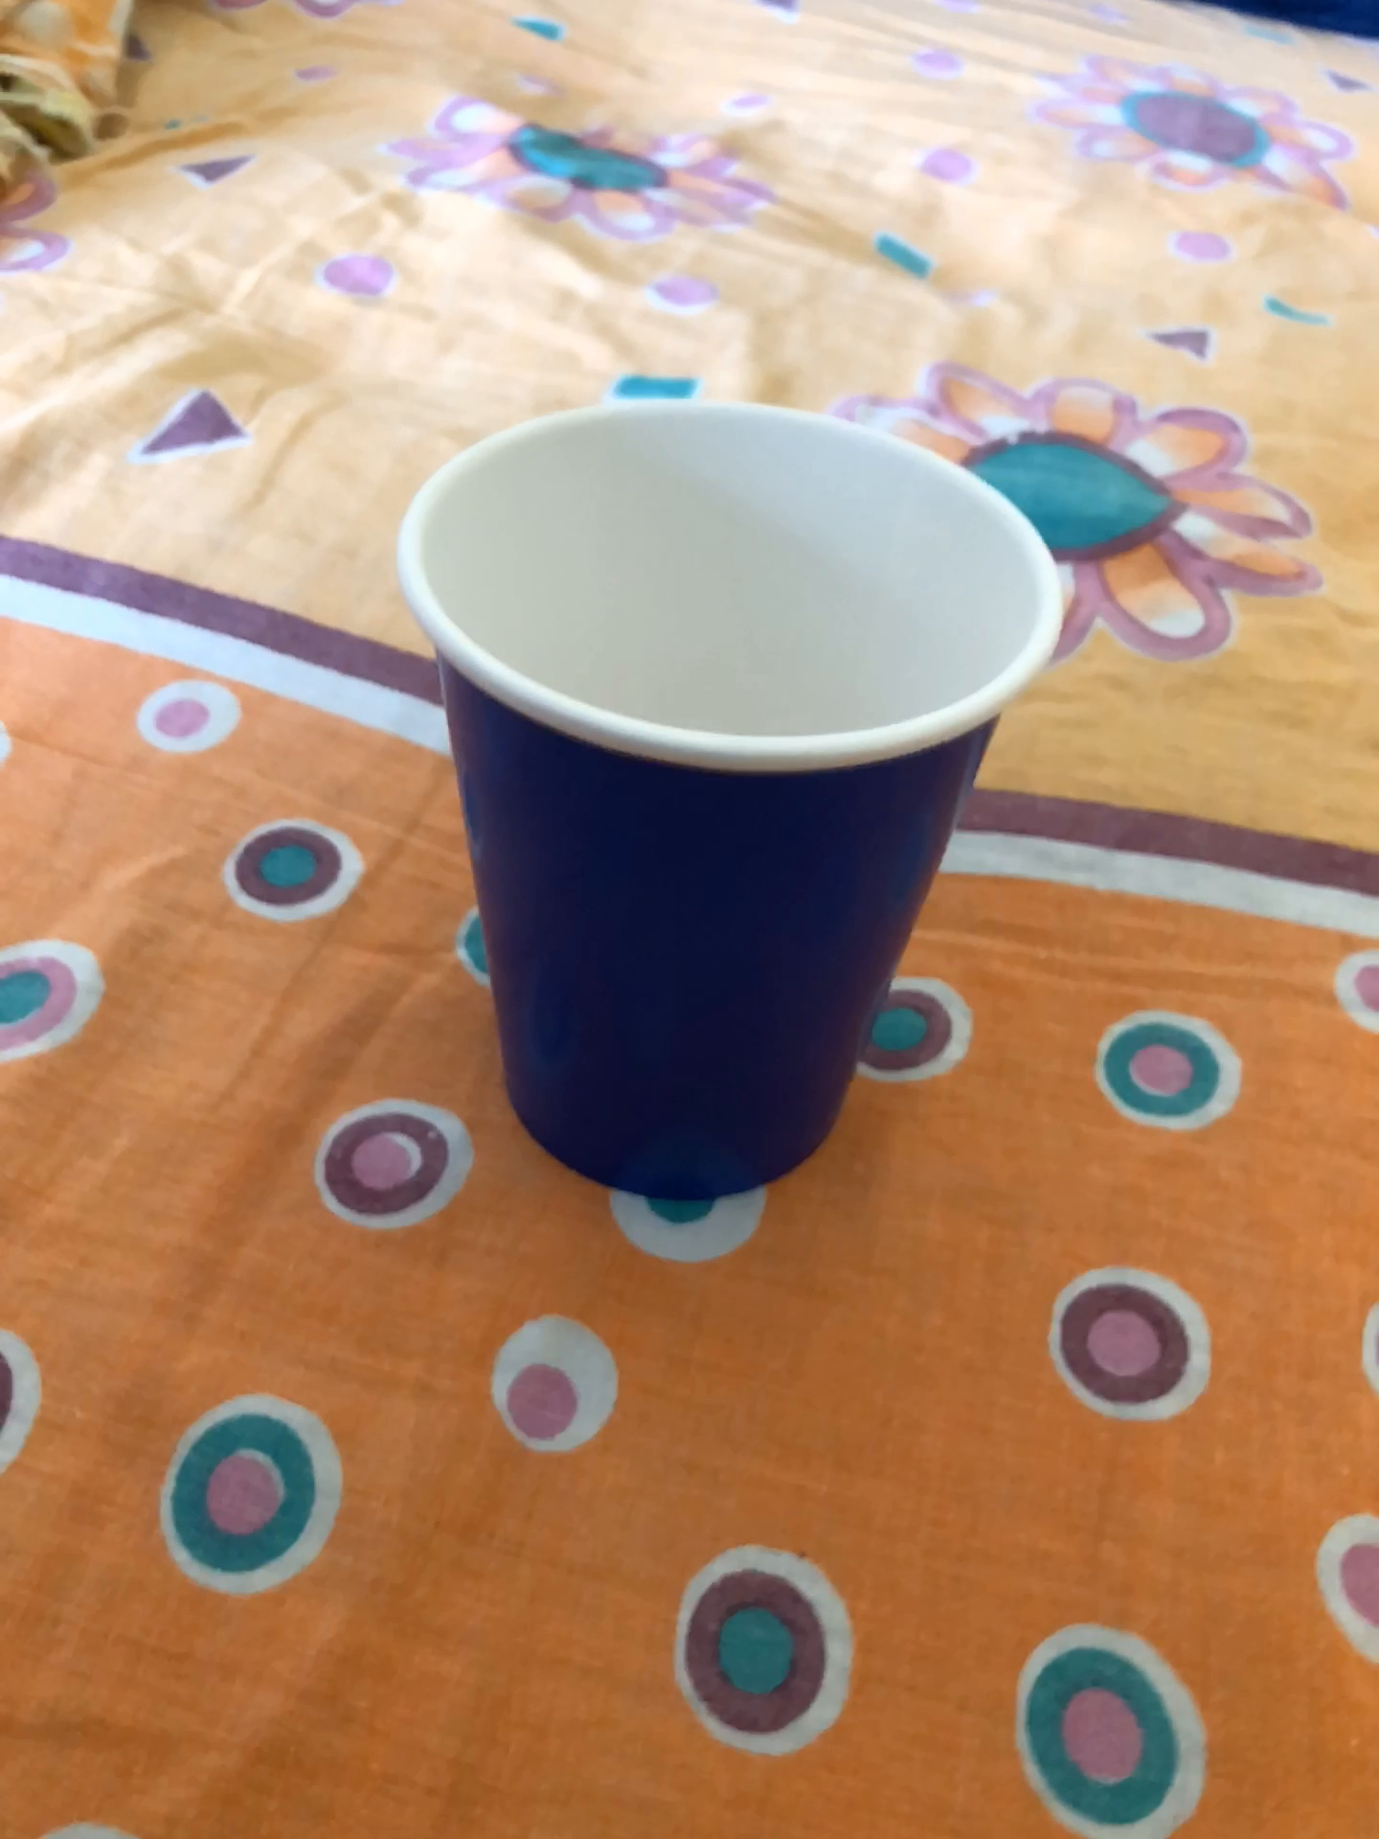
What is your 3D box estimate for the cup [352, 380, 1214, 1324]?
[{"bbox_3d":[0.003,-0.013,0.214,0.080,0.090,0.080,3,40,-3],"label":"cup"}]
